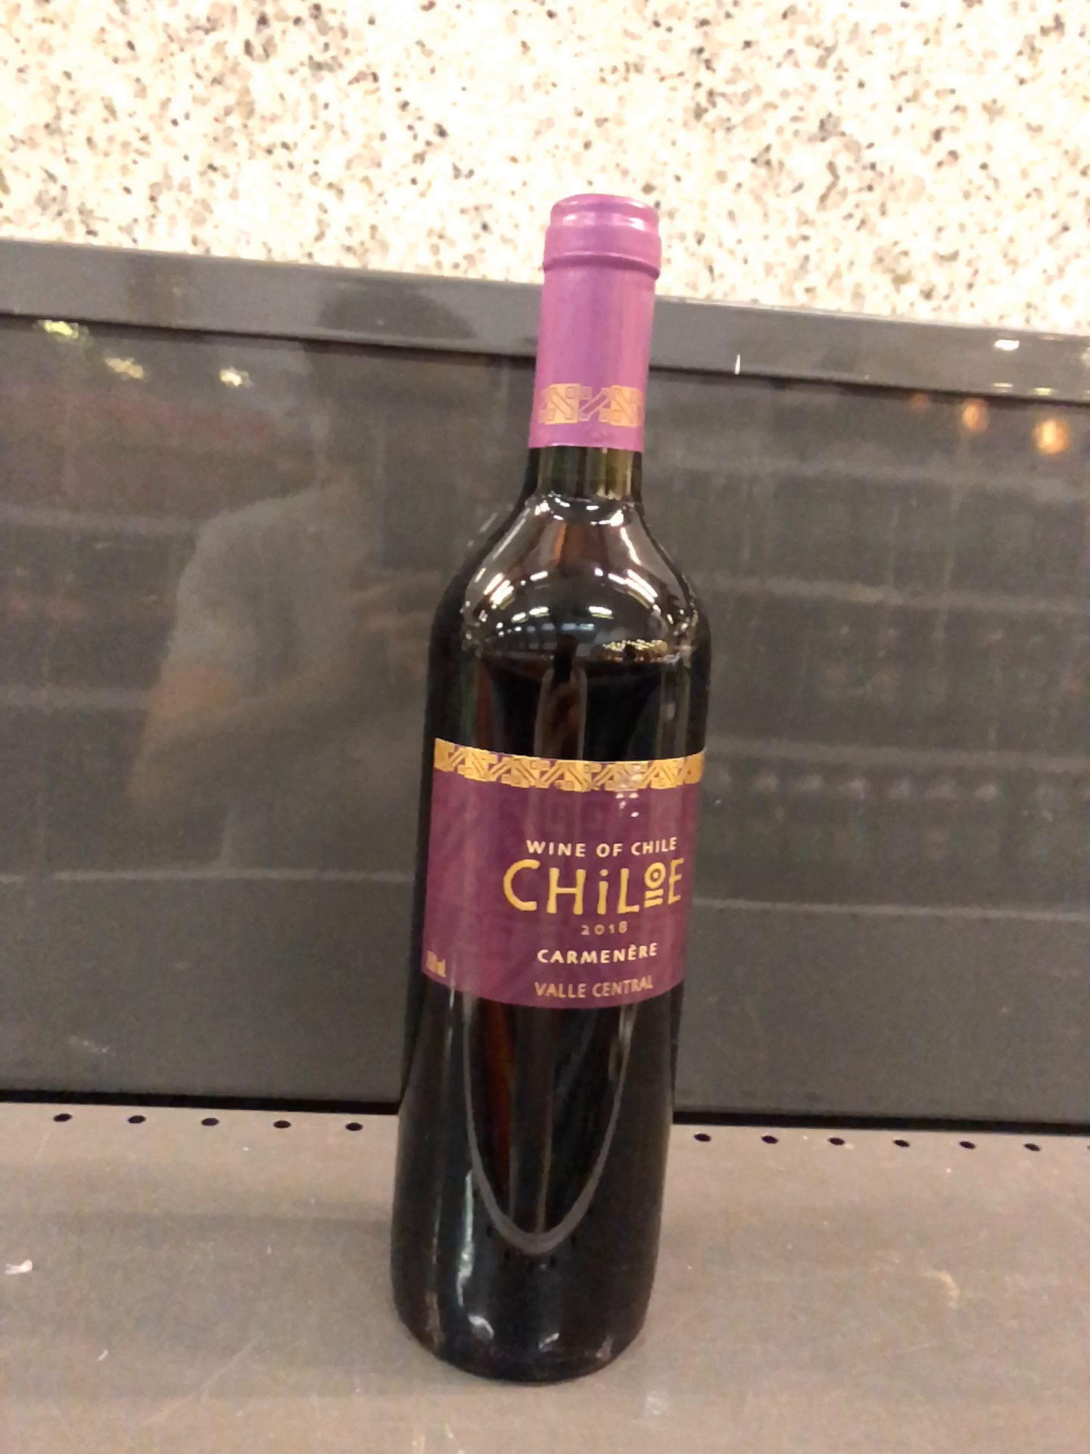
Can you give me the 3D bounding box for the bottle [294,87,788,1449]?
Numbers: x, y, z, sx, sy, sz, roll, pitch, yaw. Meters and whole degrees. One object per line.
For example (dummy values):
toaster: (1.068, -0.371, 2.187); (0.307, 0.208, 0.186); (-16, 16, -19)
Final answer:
bottle: (-0.011, 0.017, 0.329); (0.090, 0.319, 0.080); (0, 11, -20)
